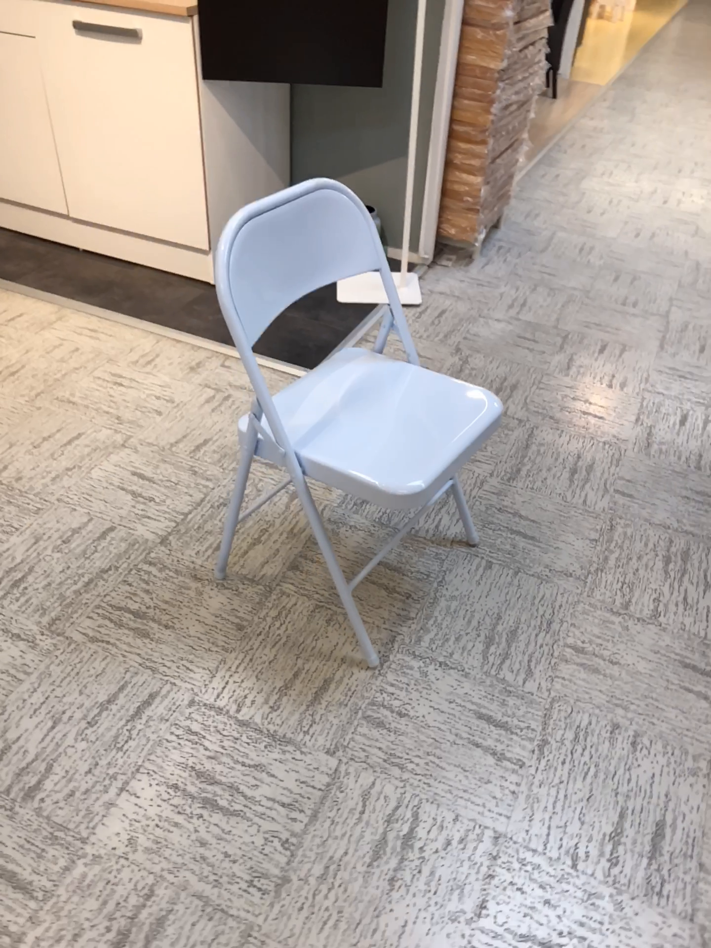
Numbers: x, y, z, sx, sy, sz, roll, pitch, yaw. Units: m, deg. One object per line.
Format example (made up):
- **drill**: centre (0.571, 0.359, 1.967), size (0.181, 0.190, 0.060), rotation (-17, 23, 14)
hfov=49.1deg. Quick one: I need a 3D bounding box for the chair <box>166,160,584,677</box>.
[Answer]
- **chair**: centre (0.032, -0.124, 1.479), size (0.480, 0.706, 0.513), rotation (24, 42, 24)
